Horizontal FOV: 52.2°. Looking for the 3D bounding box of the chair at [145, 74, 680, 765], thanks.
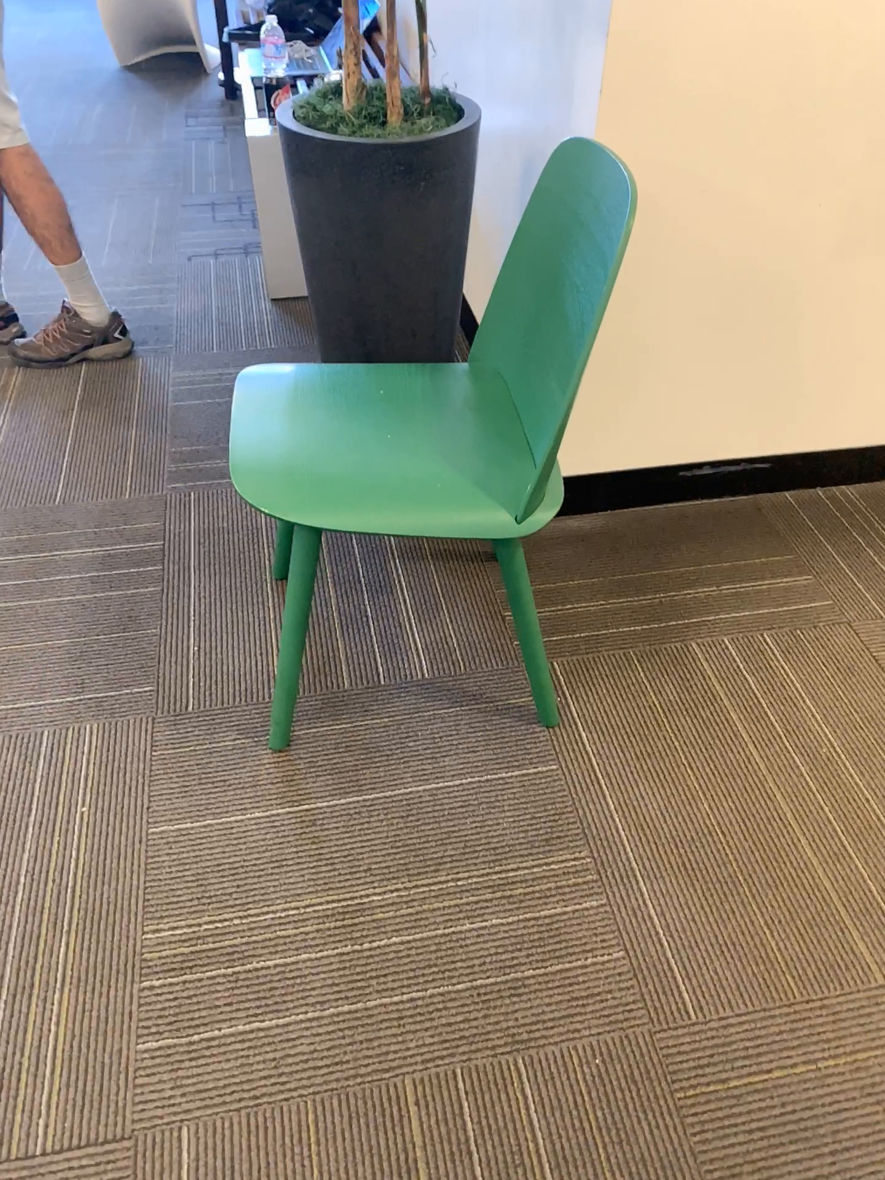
[{"bbox_3d":[-0.069,-0.226,1.282,0.500,0.785,0.503,-5,42,-8],"label":"chair"}]
